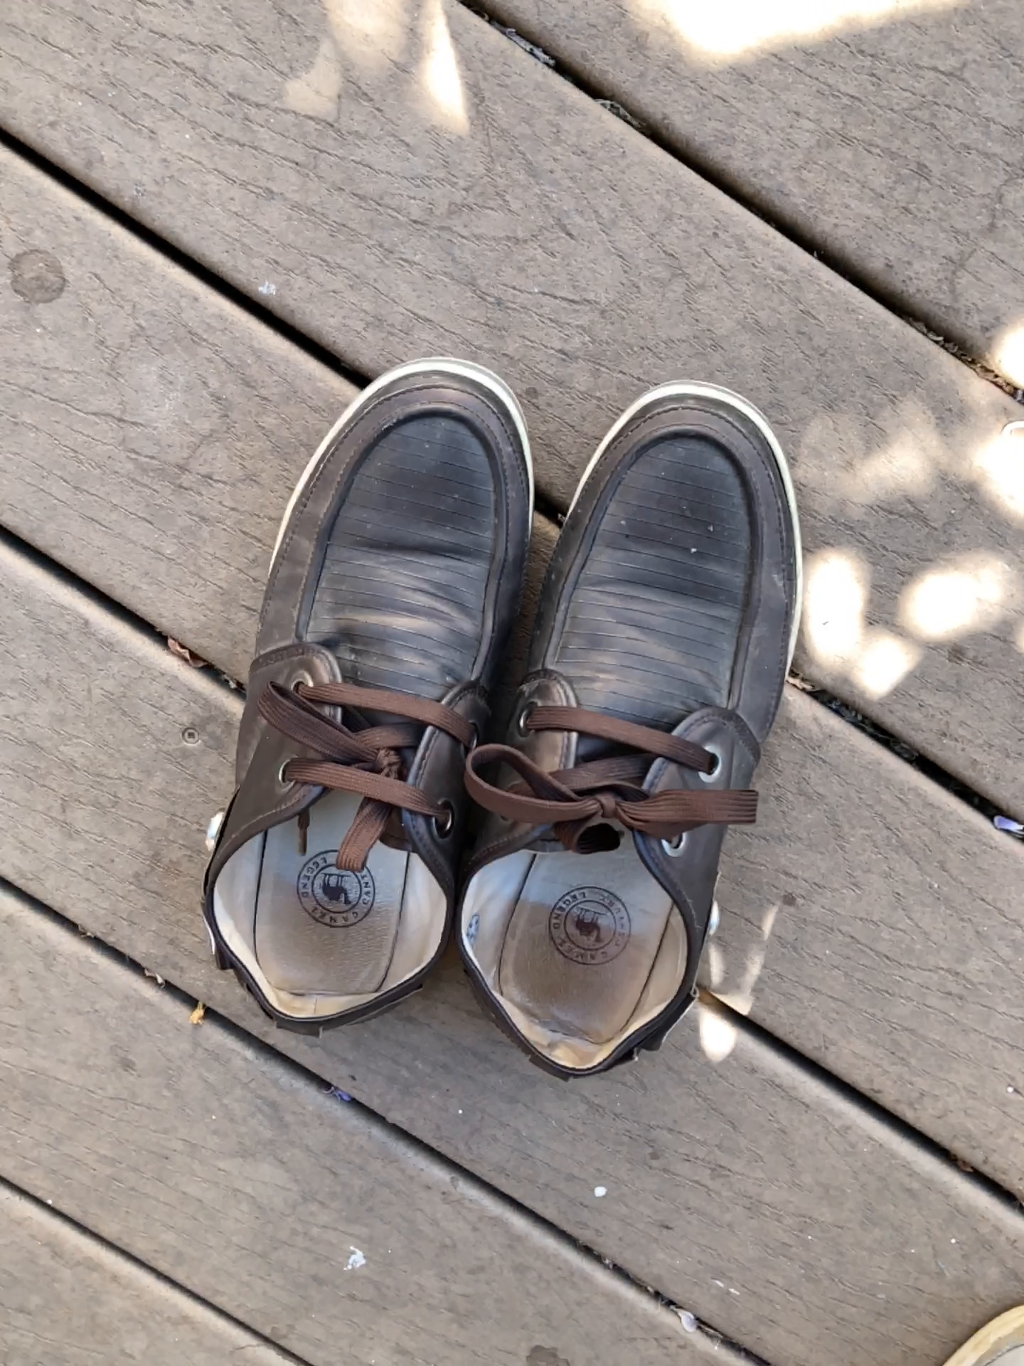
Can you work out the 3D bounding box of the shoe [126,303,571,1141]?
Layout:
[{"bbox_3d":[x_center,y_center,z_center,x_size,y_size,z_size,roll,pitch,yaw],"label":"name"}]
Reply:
[{"bbox_3d":[-0.061,0.013,0.452,0.107,0.115,0.287,13,103,1],"label":"shoe"}]

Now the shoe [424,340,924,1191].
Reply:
[{"bbox_3d":[0.051,0.029,0.439,0.107,0.105,0.289,12,103,1],"label":"shoe"}]
